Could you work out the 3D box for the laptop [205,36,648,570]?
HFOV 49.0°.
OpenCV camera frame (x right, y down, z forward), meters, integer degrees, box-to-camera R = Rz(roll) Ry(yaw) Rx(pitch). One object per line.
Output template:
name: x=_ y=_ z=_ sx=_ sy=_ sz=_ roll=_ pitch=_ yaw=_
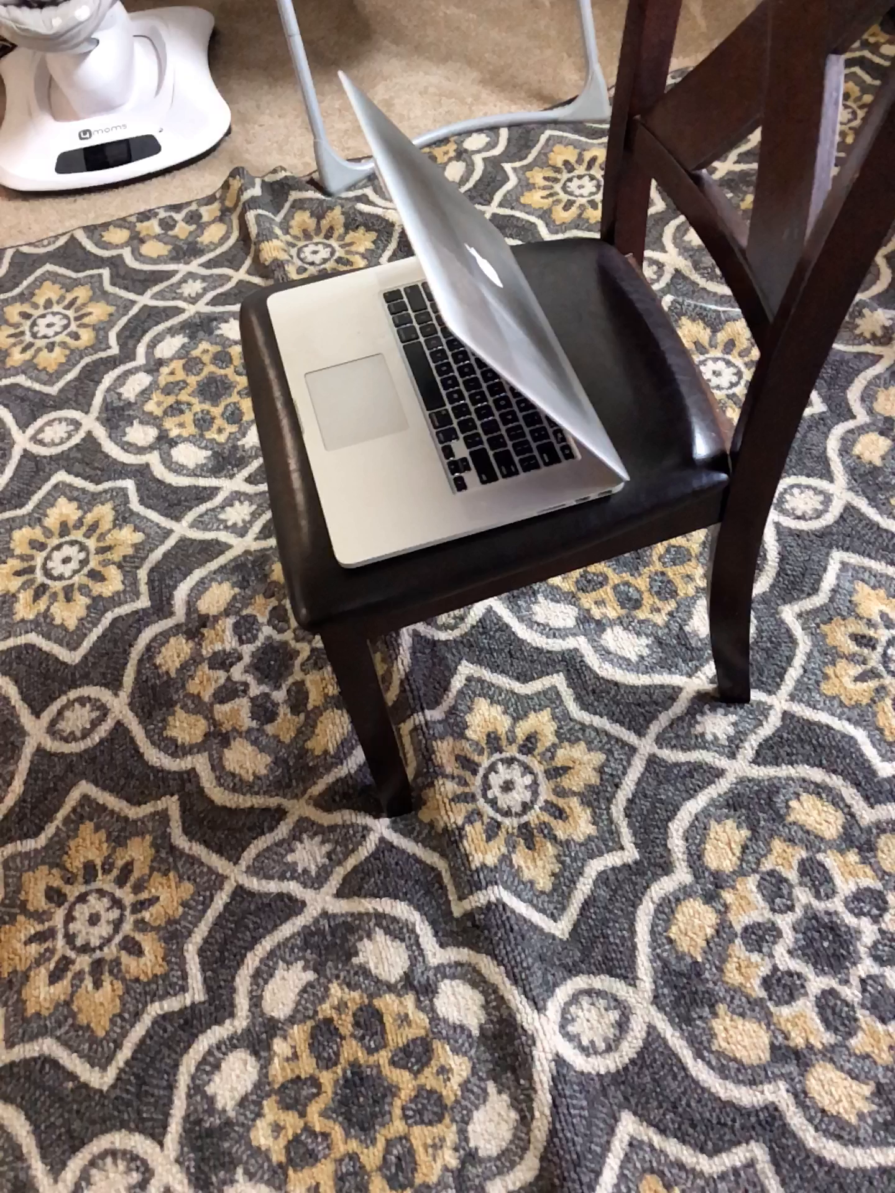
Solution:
laptop: x=-0.026 y=-0.244 z=0.795 sx=0.237 sy=0.200 sz=0.352 roll=-16 pitch=56 yaw=-4
